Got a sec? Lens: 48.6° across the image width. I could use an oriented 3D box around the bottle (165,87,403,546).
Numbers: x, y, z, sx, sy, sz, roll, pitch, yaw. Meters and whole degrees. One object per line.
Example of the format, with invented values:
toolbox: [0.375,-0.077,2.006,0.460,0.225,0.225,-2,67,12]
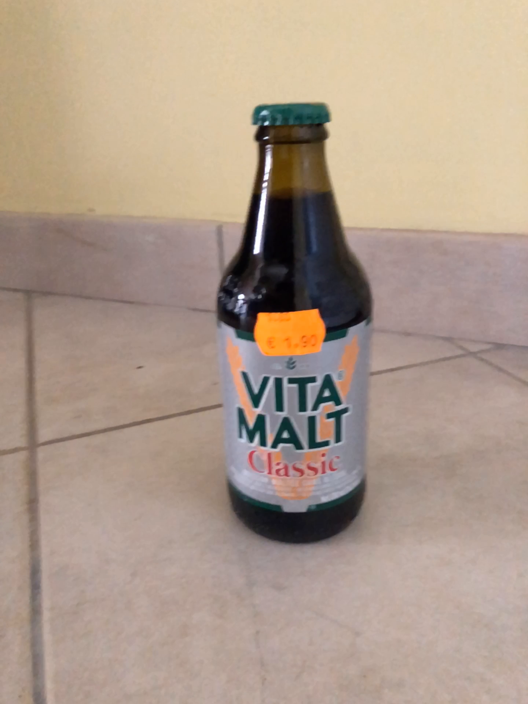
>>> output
bottle: [0.012,-0.014,0.238,0.070,0.169,0.070,-2,24,1]
